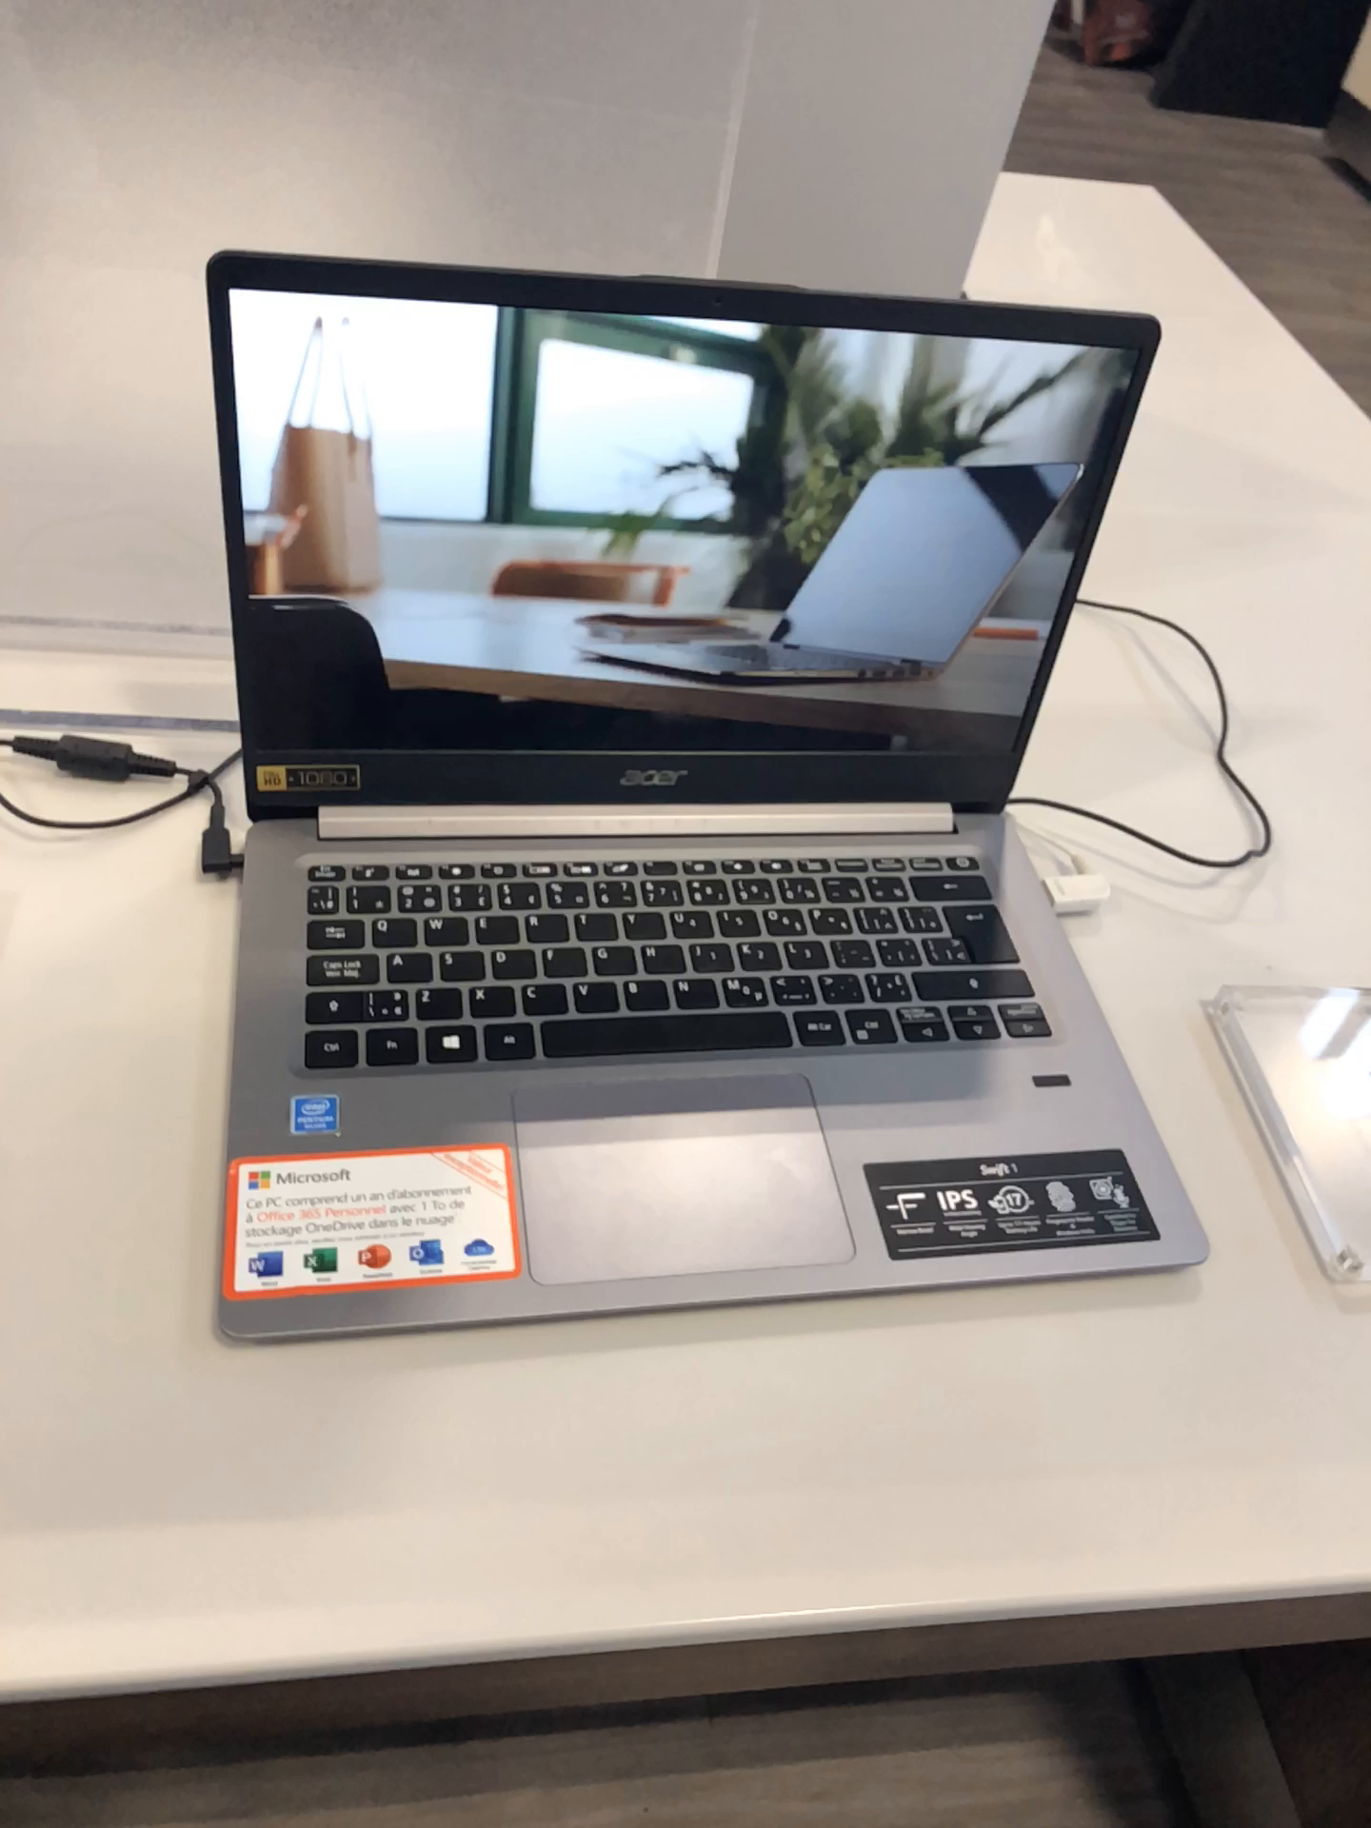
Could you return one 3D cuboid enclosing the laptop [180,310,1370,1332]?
[{"bbox_3d":[0.017,-0.034,0.486,0.306,0.205,0.225,-1,45,-13],"label":"laptop"}]
